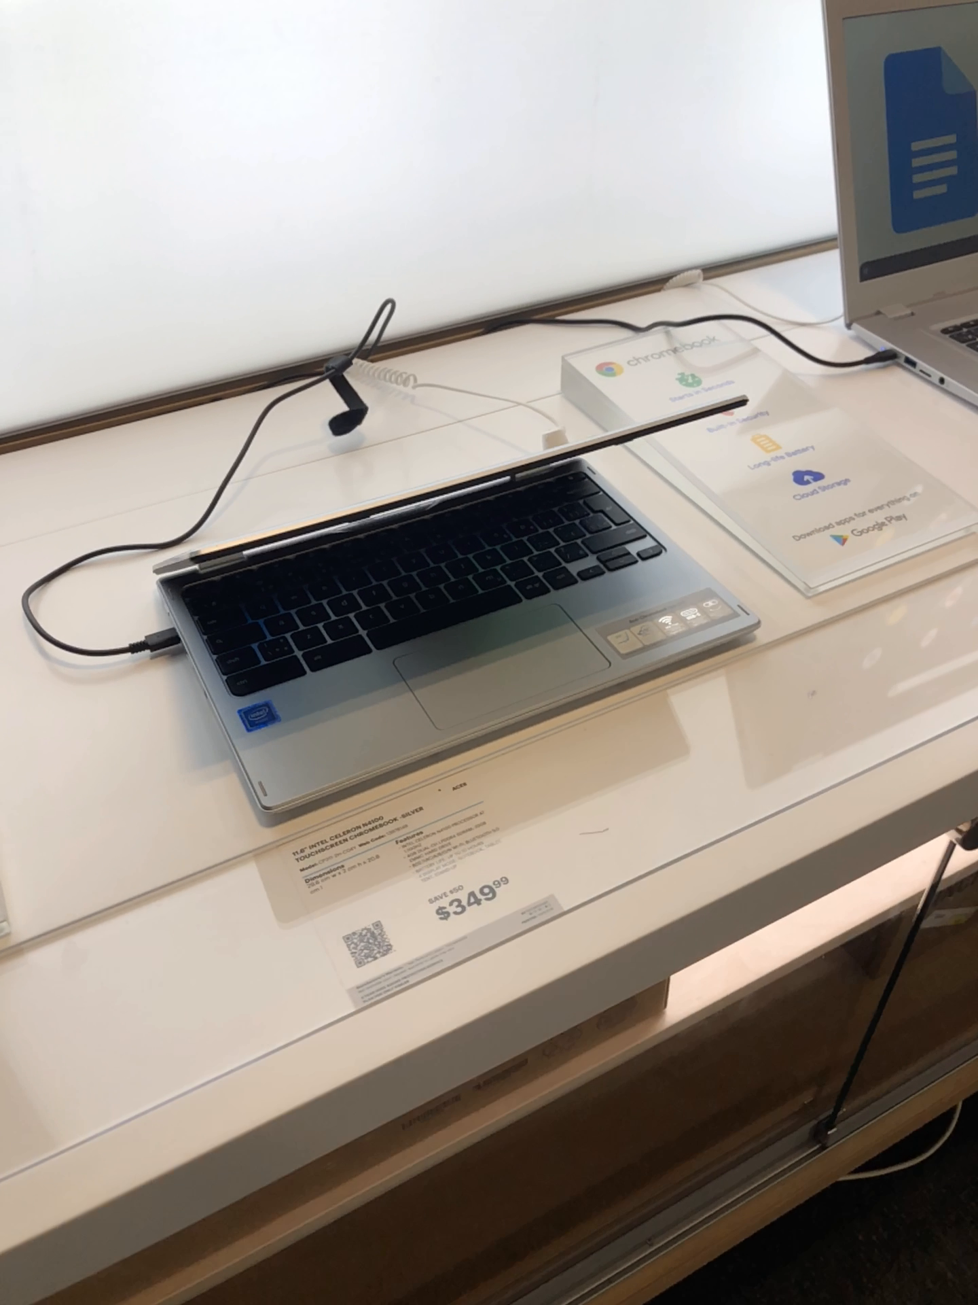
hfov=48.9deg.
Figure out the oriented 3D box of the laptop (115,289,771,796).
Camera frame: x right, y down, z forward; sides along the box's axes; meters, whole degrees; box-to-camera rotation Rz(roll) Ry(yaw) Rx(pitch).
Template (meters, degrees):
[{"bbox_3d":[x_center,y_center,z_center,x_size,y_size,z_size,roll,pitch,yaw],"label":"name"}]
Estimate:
[{"bbox_3d":[-0.027,-0.077,0.586,0.280,0.123,0.192,-19,44,-21],"label":"laptop"}]
